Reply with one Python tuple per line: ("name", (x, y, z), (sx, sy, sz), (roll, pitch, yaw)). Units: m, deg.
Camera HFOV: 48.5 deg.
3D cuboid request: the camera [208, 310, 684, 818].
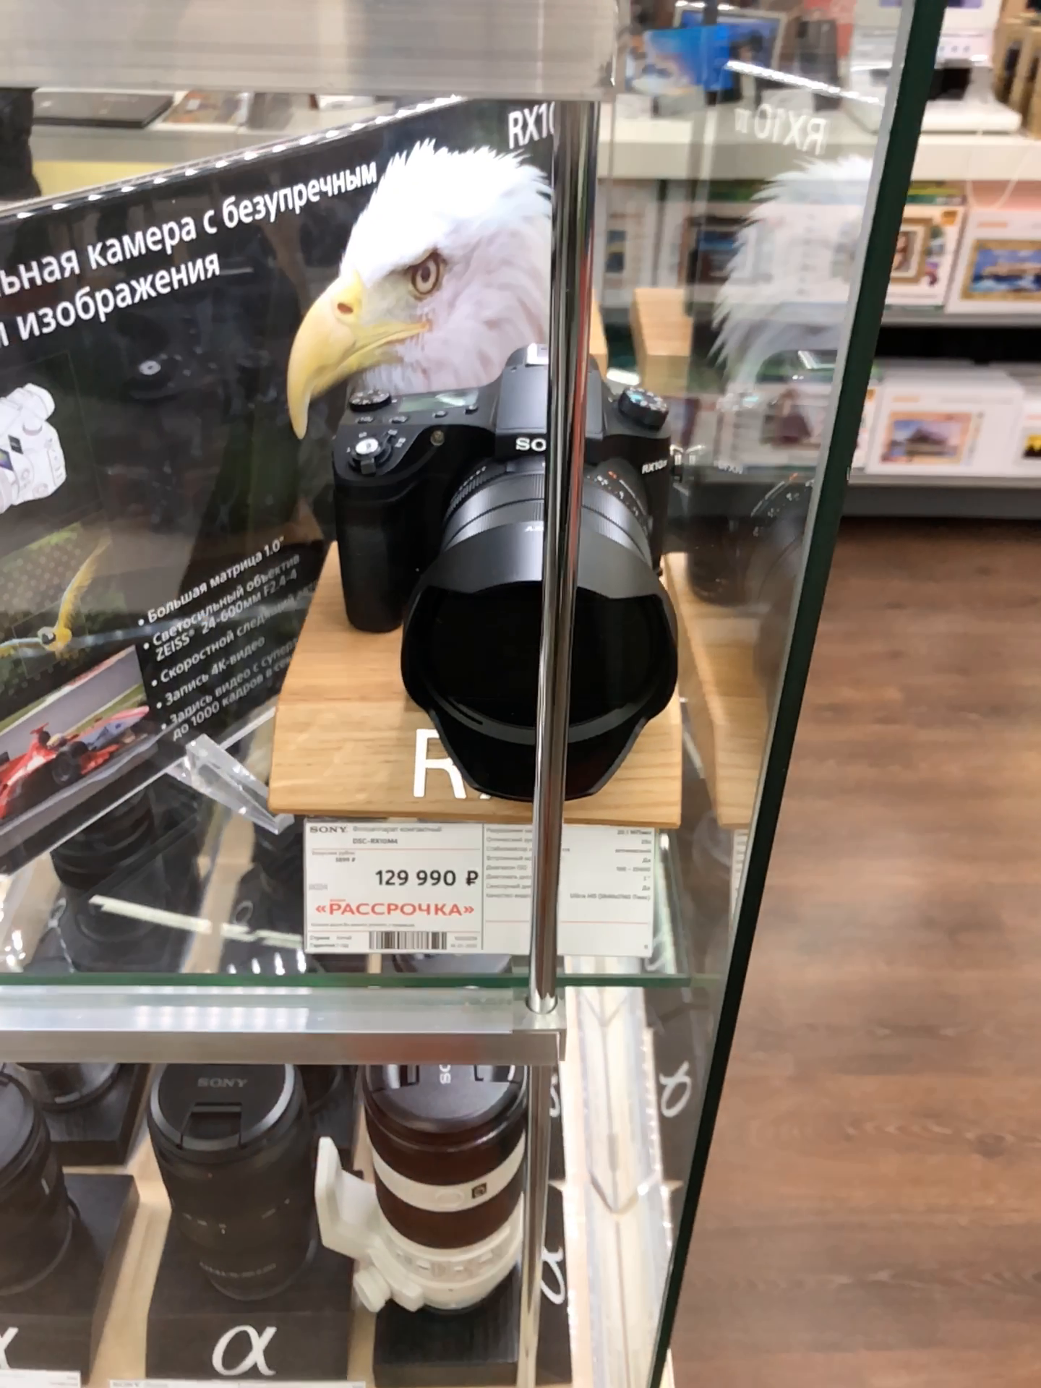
("camera", (-0.022, -0.055, 0.407), (0.126, 0.099, 0.179), (0, 38, -1))
